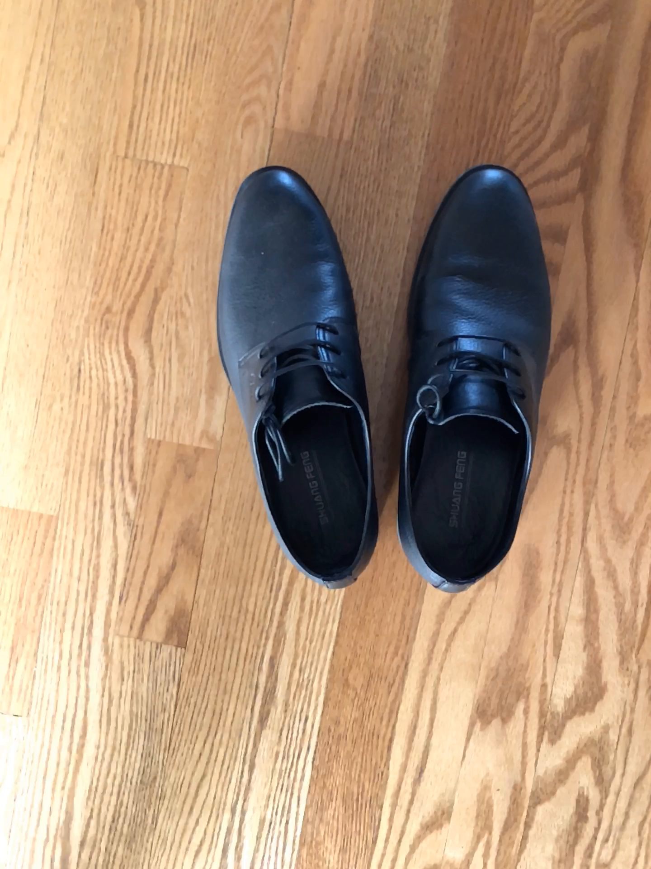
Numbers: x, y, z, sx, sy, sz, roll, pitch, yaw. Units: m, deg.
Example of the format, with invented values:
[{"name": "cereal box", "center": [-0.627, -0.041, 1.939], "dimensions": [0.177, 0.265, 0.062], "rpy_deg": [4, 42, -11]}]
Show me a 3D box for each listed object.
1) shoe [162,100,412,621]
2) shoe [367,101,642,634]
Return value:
[{"name": "shoe", "center": [-0.021, -0.045, 0.501], "dimensions": [0.110, 0.124, 0.304], "rpy_deg": [-8, 92, 2]}, {"name": "shoe", "center": [0.107, -0.040, 0.485], "dimensions": [0.110, 0.124, 0.299], "rpy_deg": [9, 93, 1]}]
